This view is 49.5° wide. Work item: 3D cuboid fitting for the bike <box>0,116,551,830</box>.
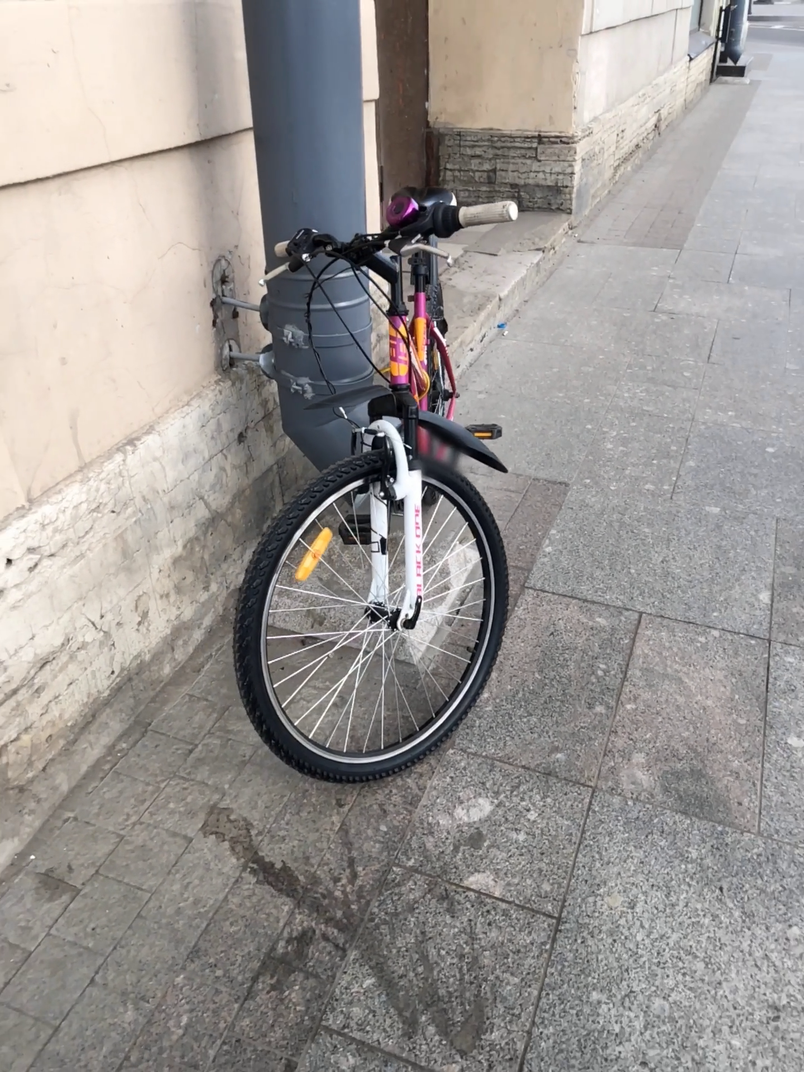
[{"bbox_3d":[-0.101,-0.318,2.026,0.622,0.974,1.583,6,34,13],"label":"bike"}]
